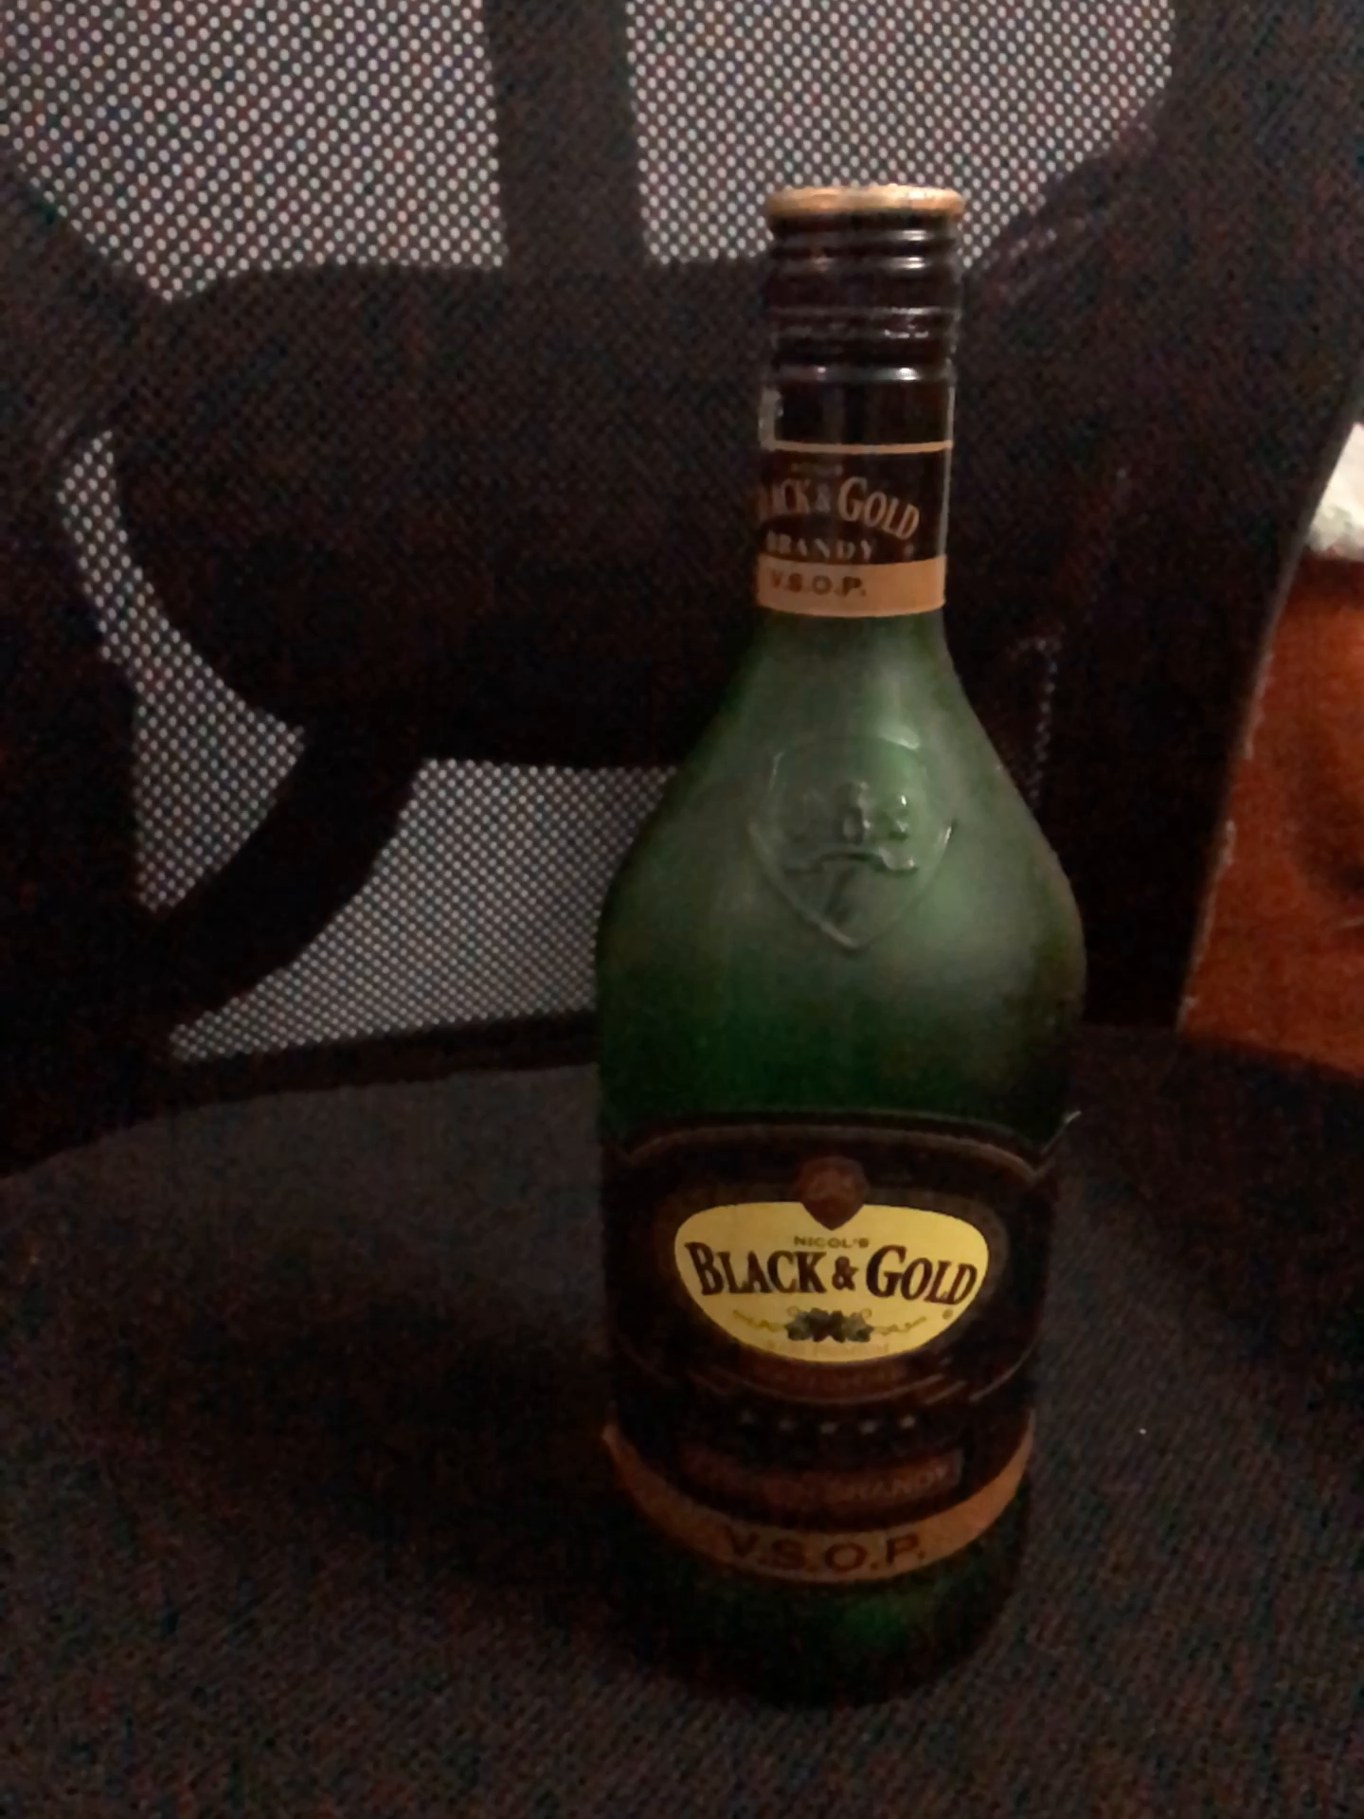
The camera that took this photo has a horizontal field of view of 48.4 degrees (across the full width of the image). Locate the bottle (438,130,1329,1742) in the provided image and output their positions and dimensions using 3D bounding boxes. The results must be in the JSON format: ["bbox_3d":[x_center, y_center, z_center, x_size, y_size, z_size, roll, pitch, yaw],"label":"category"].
[{"bbox_3d":[0.022,0.014,0.276,0.110,0.269,0.080,4,23,4],"label":"bottle"}]
